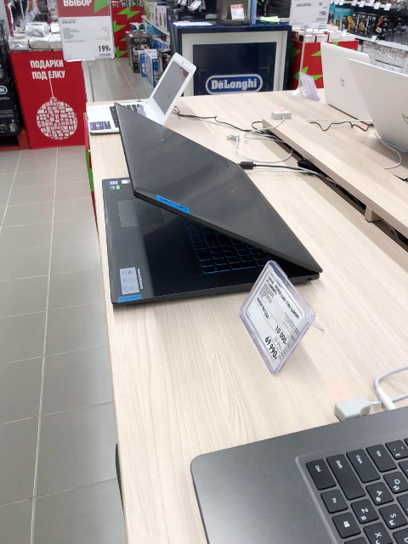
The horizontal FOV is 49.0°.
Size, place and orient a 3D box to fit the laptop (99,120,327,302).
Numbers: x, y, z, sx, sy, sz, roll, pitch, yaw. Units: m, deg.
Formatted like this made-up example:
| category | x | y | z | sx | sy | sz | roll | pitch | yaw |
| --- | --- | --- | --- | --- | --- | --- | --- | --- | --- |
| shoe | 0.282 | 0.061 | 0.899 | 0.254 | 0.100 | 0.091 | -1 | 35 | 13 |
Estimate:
| category | x | y | z | sx | sy | sz | roll | pitch | yaw |
| --- | --- | --- | --- | --- | --- | --- | --- | --- | --- |
| laptop | -0.024 | -0.129 | 0.720 | 0.271 | 0.129 | 0.391 | -7 | 30 | -9 |
